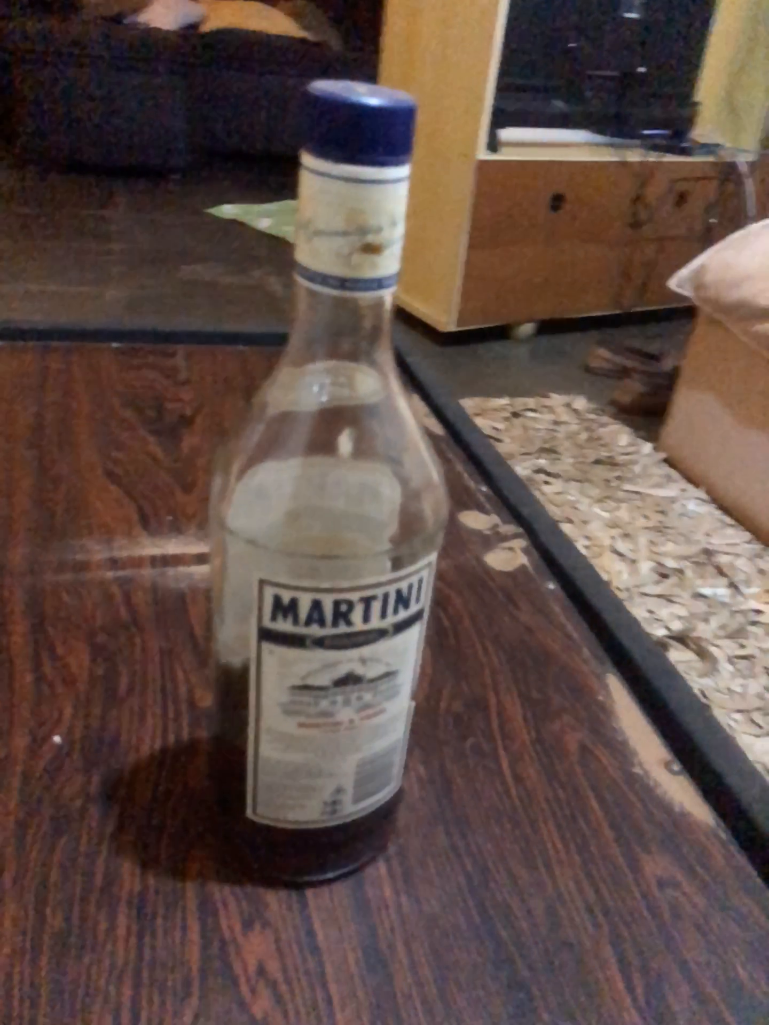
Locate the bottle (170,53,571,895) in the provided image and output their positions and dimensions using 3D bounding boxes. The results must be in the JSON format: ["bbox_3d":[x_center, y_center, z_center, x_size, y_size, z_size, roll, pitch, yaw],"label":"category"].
[{"bbox_3d":[-0.024,0.003,0.317,0.100,0.298,0.091,0,30,-12],"label":"bottle"}]
